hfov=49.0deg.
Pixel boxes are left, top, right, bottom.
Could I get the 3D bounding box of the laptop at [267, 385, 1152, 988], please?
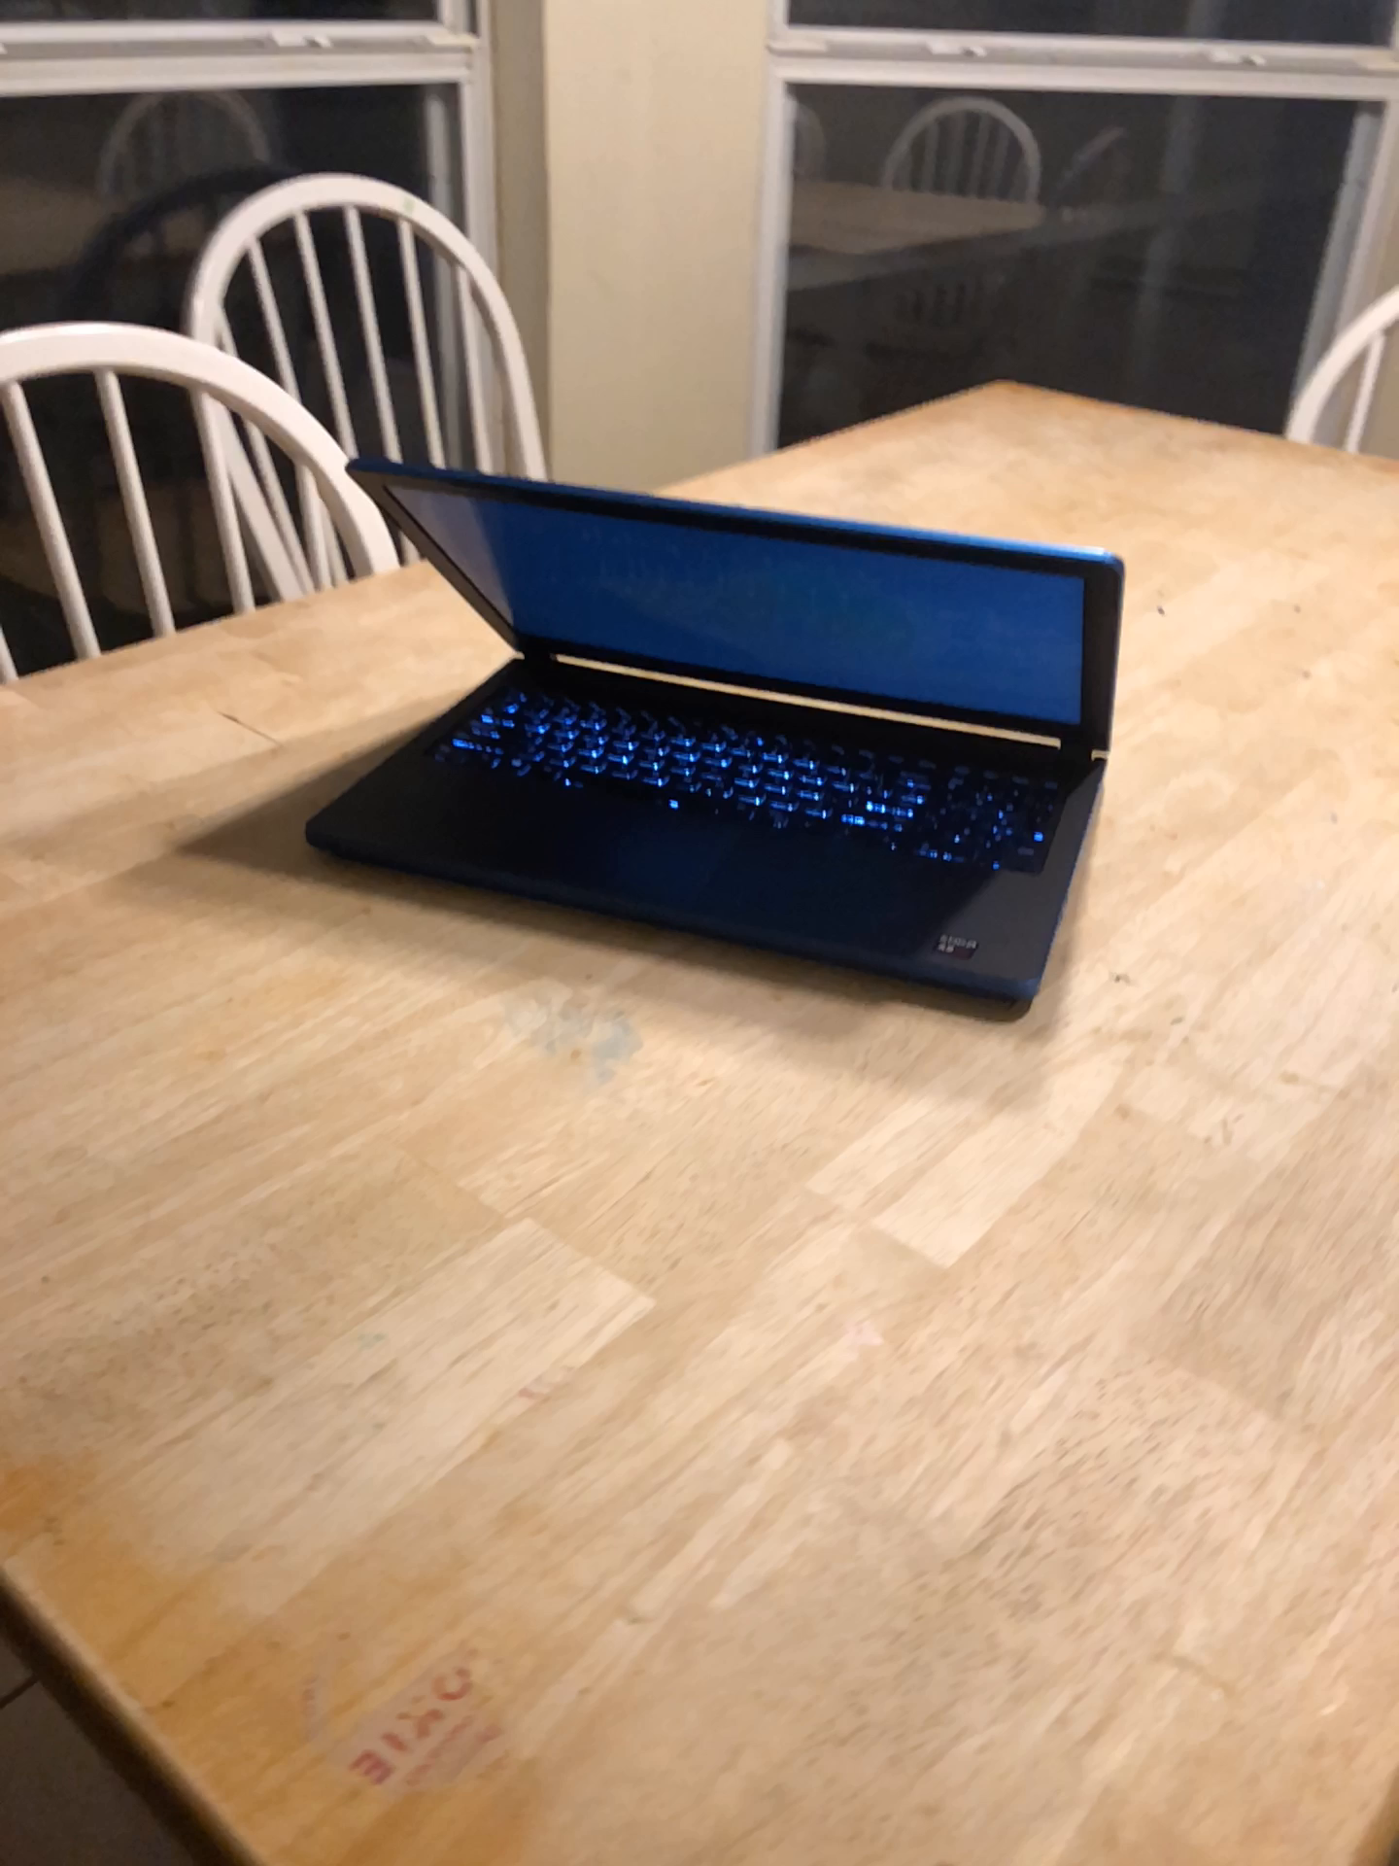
[{"bbox_3d":[0.017,-0.143,0.763,0.361,0.159,0.249,11,34,15],"label":"laptop"}]
